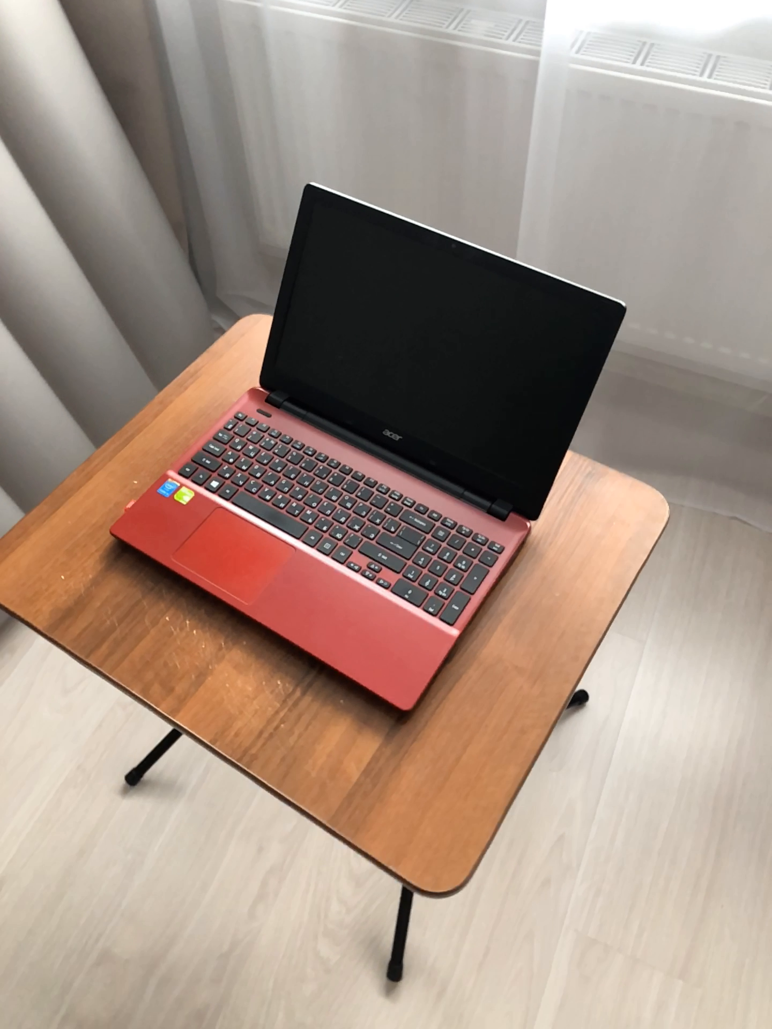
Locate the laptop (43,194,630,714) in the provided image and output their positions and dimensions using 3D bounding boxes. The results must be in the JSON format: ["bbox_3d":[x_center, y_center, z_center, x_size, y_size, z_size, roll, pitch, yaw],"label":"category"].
[{"bbox_3d":[-0.033,-0.083,0.845,0.372,0.191,0.382,28,60,20],"label":"laptop"}]
